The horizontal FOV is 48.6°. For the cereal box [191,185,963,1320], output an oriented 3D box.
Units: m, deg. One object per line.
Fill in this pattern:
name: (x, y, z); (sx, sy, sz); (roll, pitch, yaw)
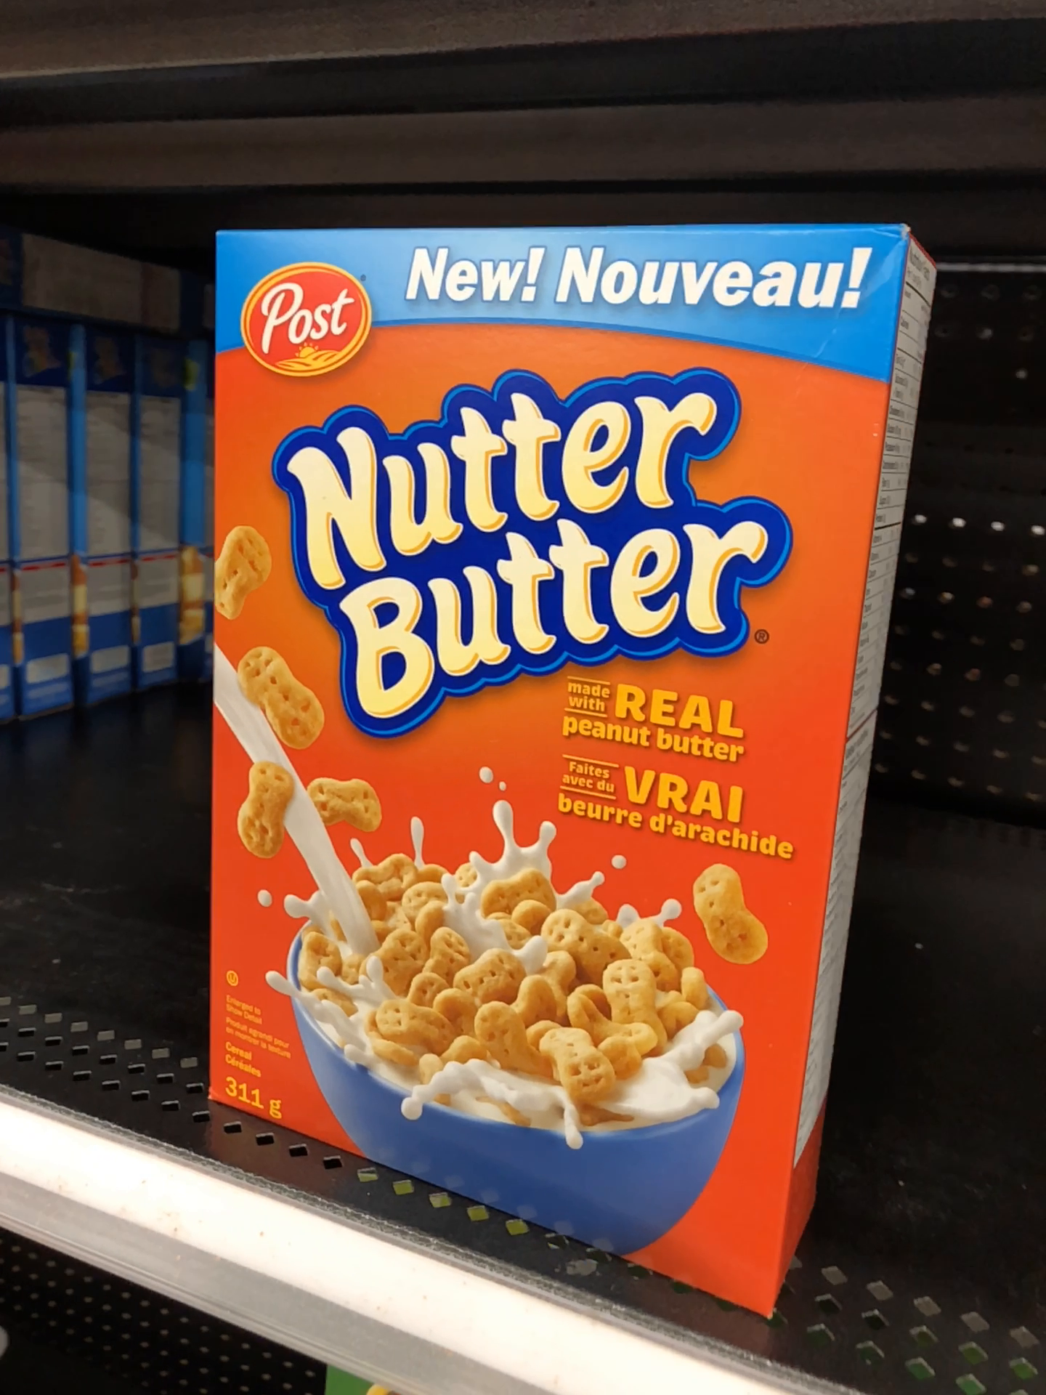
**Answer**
cereal box: (0.001, 0.006, 0.344); (0.200, 0.279, 0.060); (10, 13, 25)
